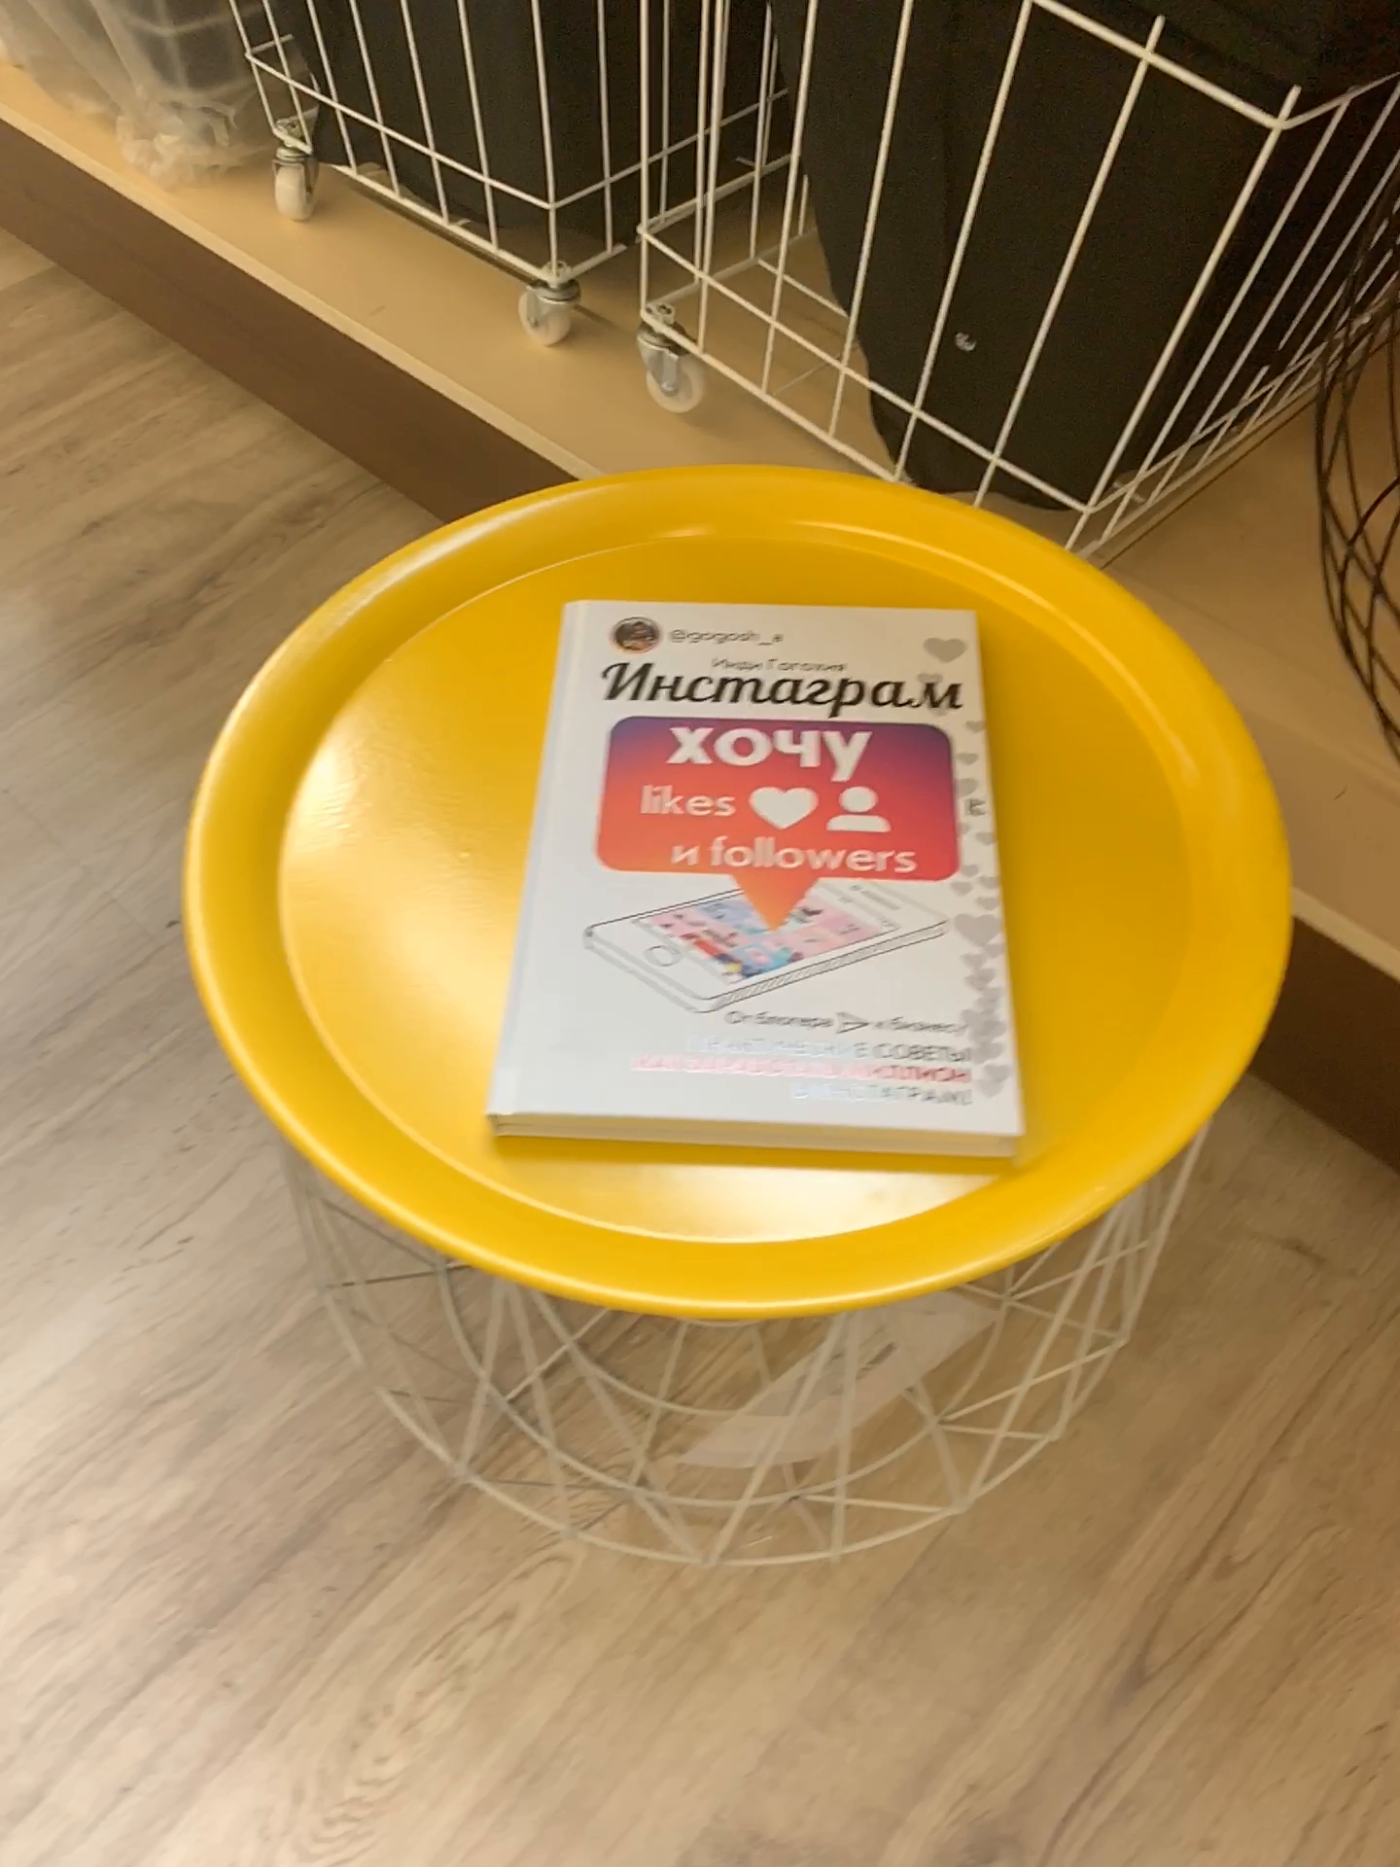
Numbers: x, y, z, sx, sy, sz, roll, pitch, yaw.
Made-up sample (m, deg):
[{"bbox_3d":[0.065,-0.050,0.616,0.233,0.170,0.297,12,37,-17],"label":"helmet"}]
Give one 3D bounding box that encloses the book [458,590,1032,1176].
[{"bbox_3d":[0.019,-0.031,0.505,0.170,0.020,0.241,2,54,2],"label":"book"}]
